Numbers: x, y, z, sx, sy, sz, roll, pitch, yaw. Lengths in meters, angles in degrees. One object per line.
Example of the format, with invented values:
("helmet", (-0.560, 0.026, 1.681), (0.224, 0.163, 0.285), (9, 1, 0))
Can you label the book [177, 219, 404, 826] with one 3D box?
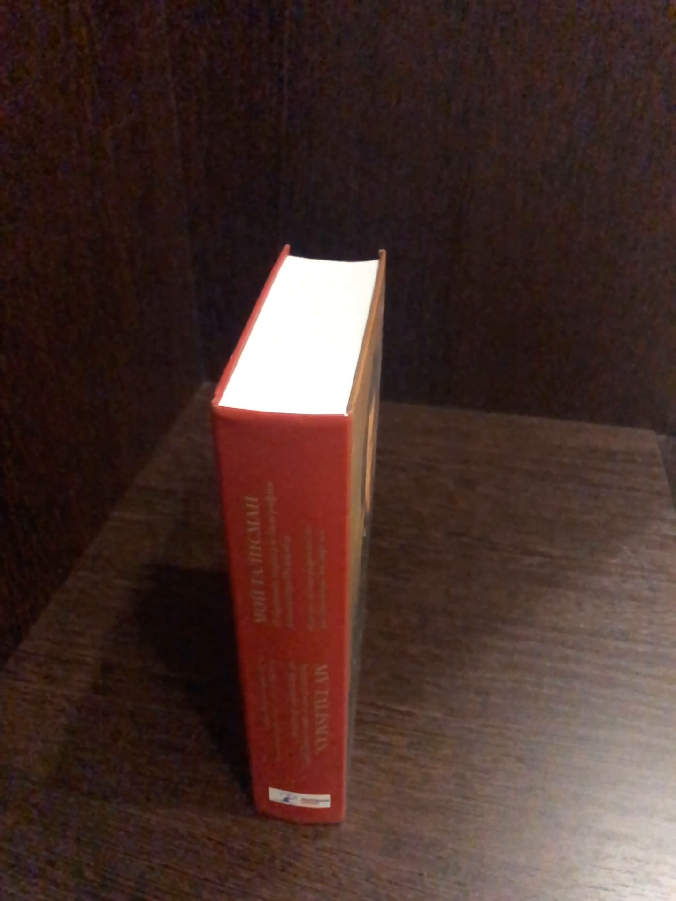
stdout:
("book", (-0.013, 0.029, 0.309), (0.054, 0.201, 0.138), (6, 34, 4))
